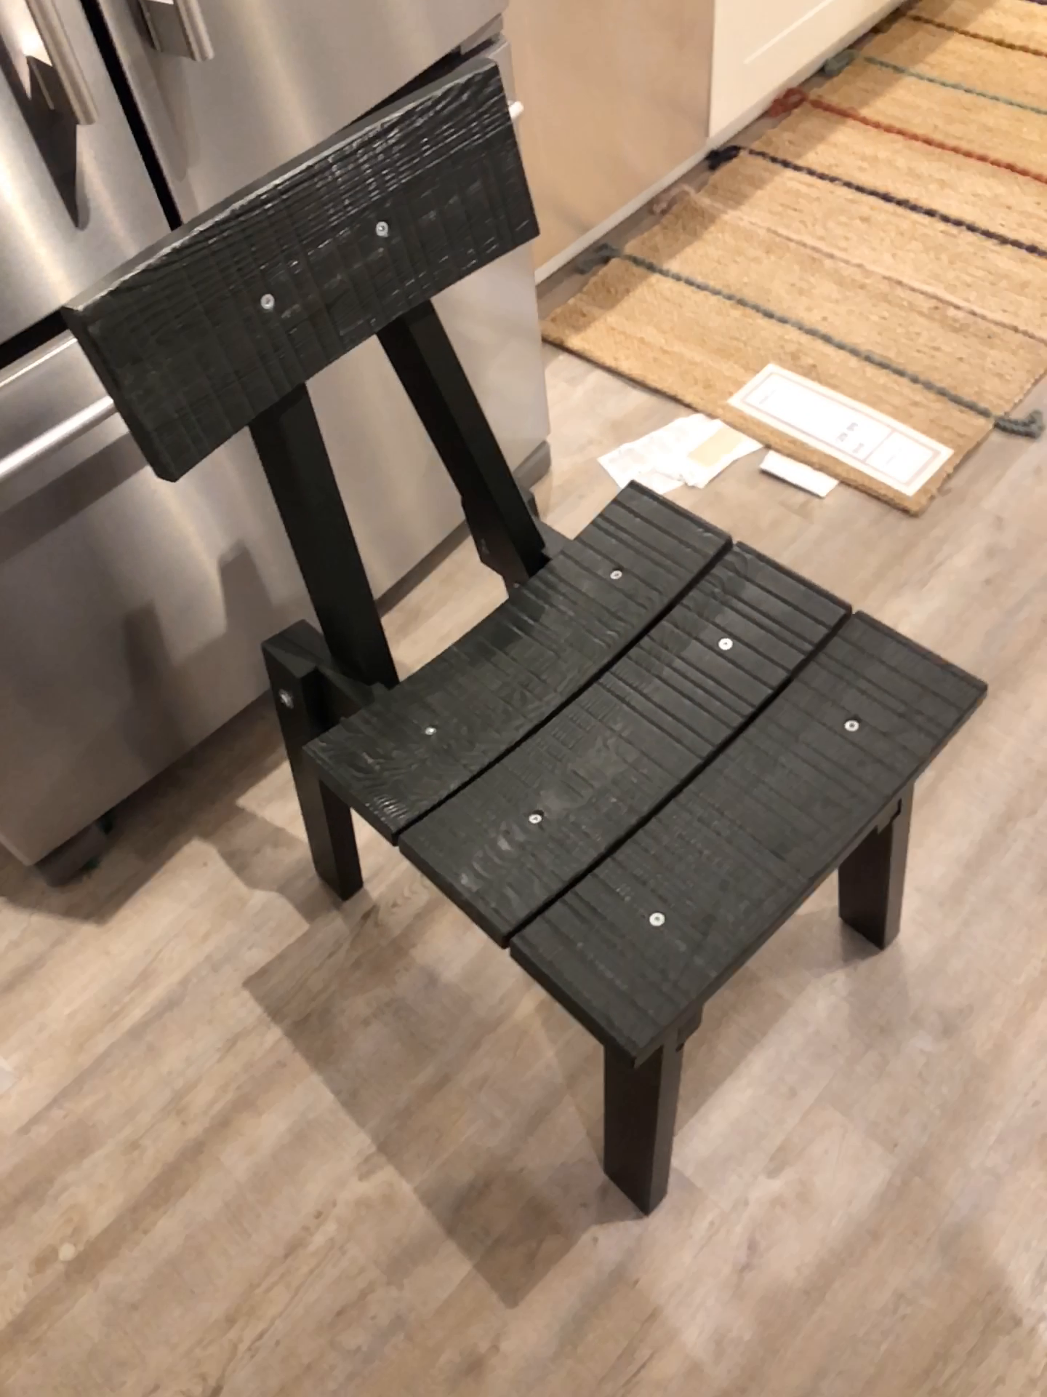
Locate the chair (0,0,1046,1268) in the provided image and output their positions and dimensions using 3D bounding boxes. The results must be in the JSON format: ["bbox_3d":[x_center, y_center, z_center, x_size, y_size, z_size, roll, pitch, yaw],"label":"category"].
[{"bbox_3d":[0.056,-0.006,0.922,0.521,0.796,0.512,-40,61,-19],"label":"chair"}]
